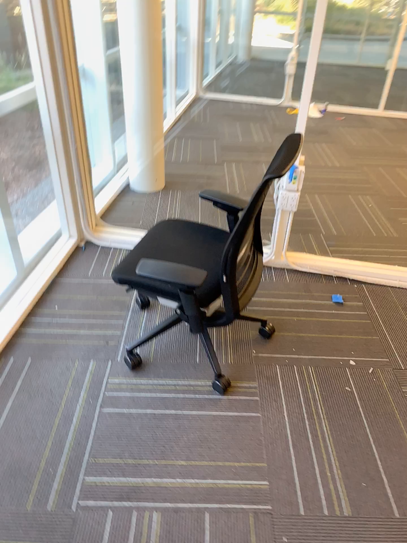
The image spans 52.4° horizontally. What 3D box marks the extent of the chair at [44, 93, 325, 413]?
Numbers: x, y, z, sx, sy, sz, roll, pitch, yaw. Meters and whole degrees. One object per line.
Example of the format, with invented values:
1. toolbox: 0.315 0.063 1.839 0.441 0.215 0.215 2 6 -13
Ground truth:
1. chair: -0.021 -0.114 1.640 0.731 0.895 0.703 13 37 14
